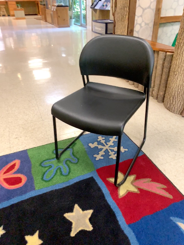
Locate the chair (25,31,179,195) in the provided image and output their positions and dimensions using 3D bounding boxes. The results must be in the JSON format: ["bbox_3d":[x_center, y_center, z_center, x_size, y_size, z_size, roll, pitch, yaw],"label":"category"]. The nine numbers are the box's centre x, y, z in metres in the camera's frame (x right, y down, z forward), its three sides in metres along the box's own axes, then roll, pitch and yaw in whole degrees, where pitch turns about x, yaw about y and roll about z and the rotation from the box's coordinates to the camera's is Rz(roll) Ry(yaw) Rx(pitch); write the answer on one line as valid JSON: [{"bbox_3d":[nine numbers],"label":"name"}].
[{"bbox_3d":[0.095,-0.135,1.220,0.611,0.736,0.633,18,37,27],"label":"chair"}]
